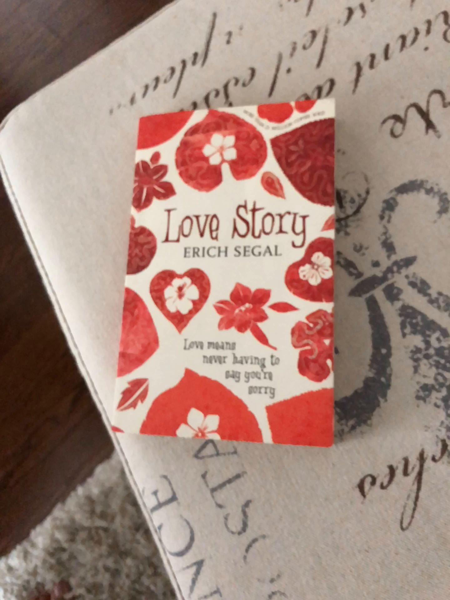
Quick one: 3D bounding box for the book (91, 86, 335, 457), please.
[{"bbox_3d":[-0.003,-0.019,0.272,0.120,0.020,0.188,0,78,13],"label":"book"}]
